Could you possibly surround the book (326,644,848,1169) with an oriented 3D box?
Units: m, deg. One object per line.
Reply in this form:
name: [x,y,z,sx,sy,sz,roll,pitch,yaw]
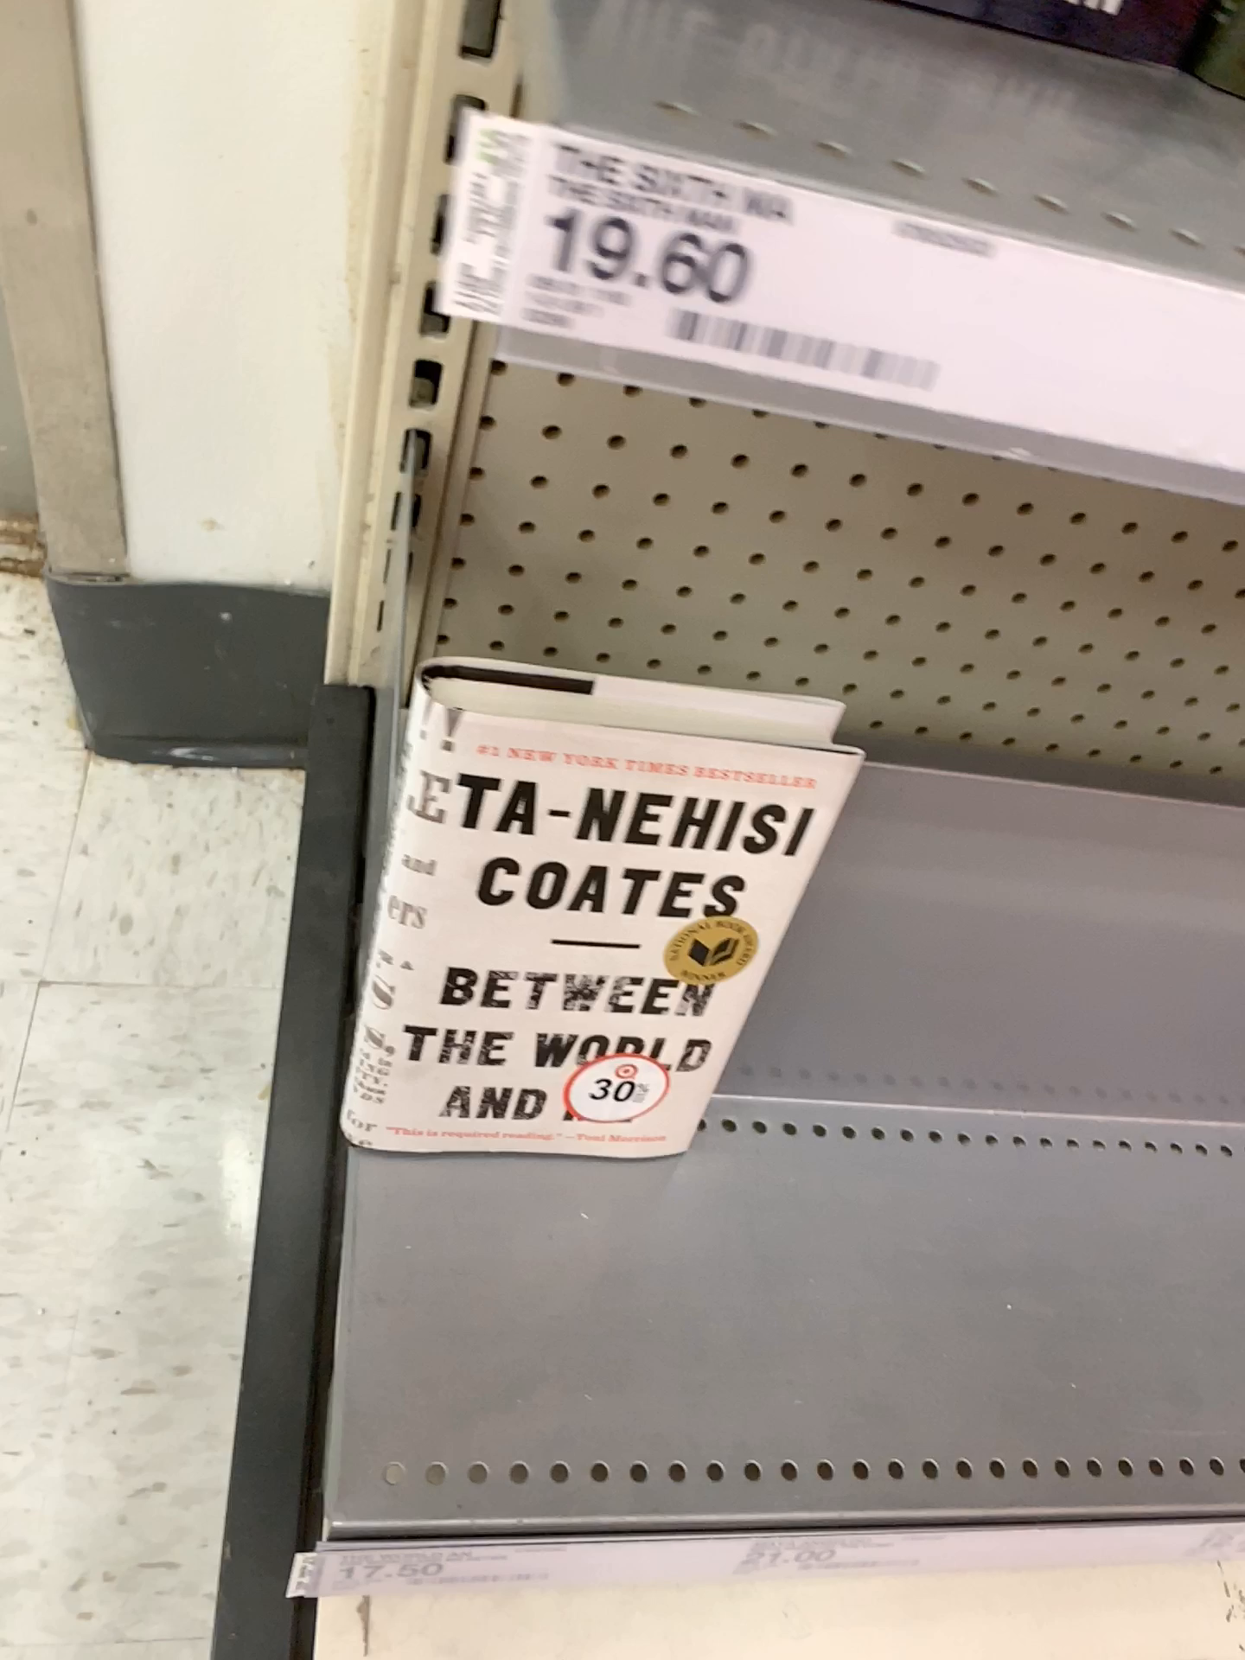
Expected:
book: [-0.021,0.036,0.408,0.129,0.187,0.030,4,37,-14]
